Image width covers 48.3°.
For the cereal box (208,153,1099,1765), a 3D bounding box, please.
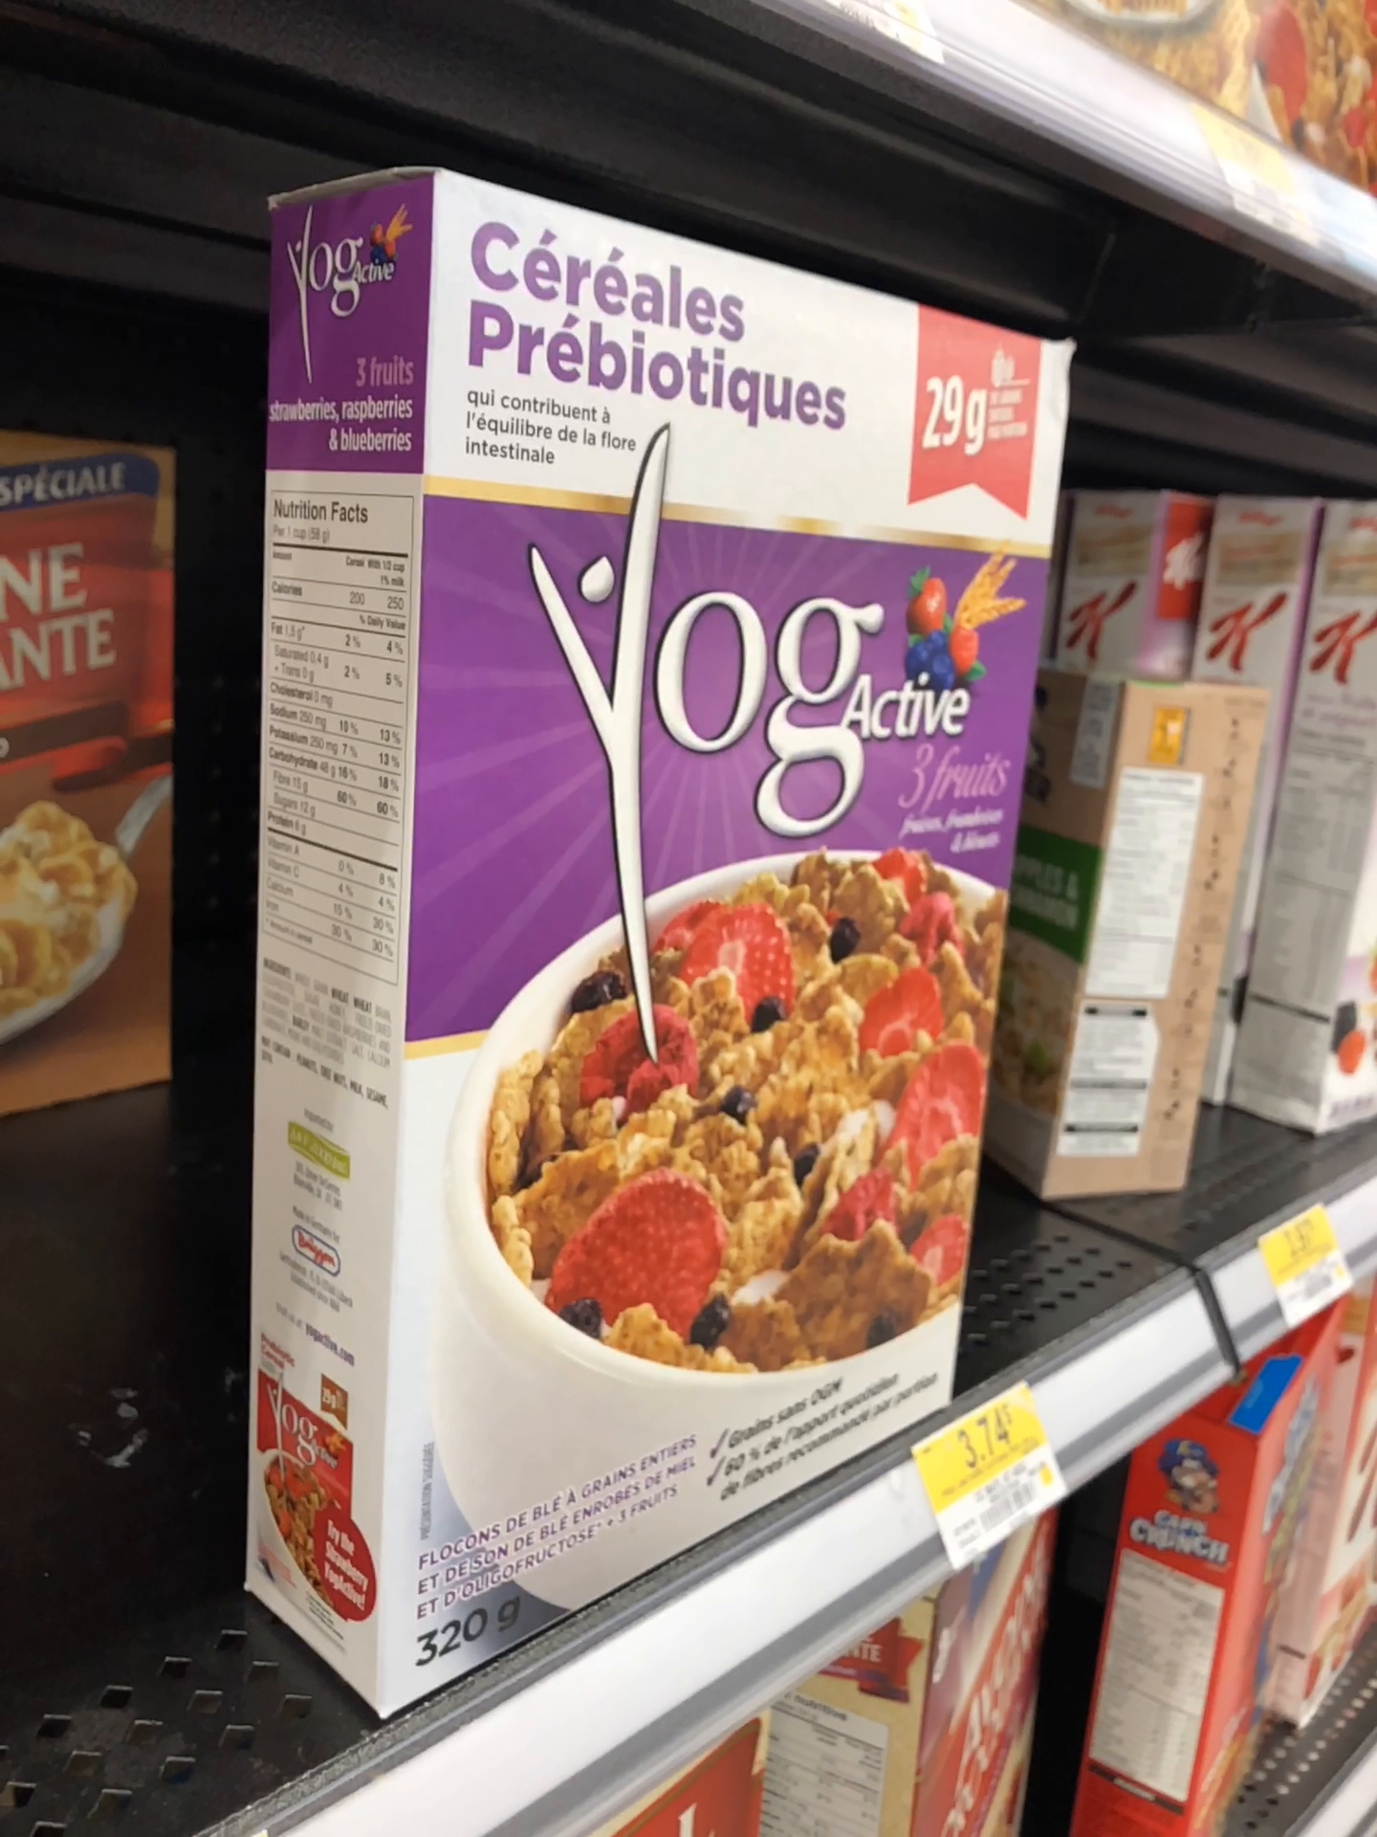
[{"bbox_3d":[-0.003,0.006,0.345,0.190,0.279,0.060,-8,17,-44],"label":"cereal box"}]
